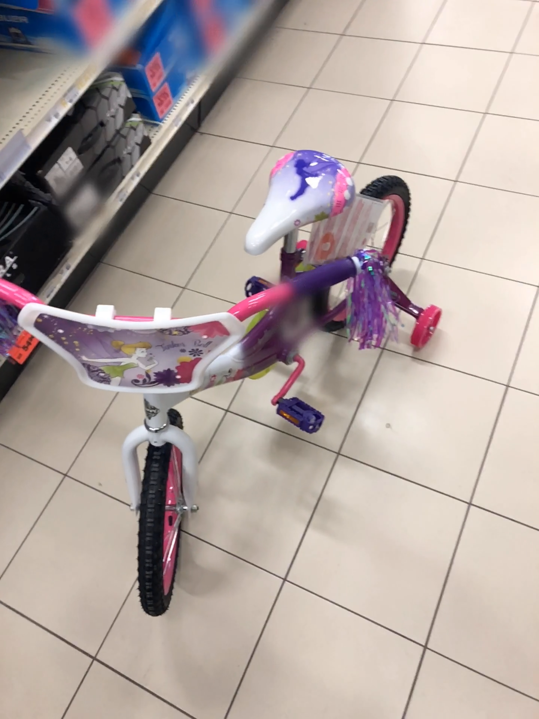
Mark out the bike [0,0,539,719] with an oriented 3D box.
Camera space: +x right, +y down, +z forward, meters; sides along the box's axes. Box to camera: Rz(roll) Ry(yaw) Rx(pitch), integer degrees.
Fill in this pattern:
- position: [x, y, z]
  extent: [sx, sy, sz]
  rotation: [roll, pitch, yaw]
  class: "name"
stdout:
- position: [0.006, -0.080, 1.070]
  extent: [0.596, 0.810, 1.068]
  rotation: [24, 67, 22]
  class: "bike"
